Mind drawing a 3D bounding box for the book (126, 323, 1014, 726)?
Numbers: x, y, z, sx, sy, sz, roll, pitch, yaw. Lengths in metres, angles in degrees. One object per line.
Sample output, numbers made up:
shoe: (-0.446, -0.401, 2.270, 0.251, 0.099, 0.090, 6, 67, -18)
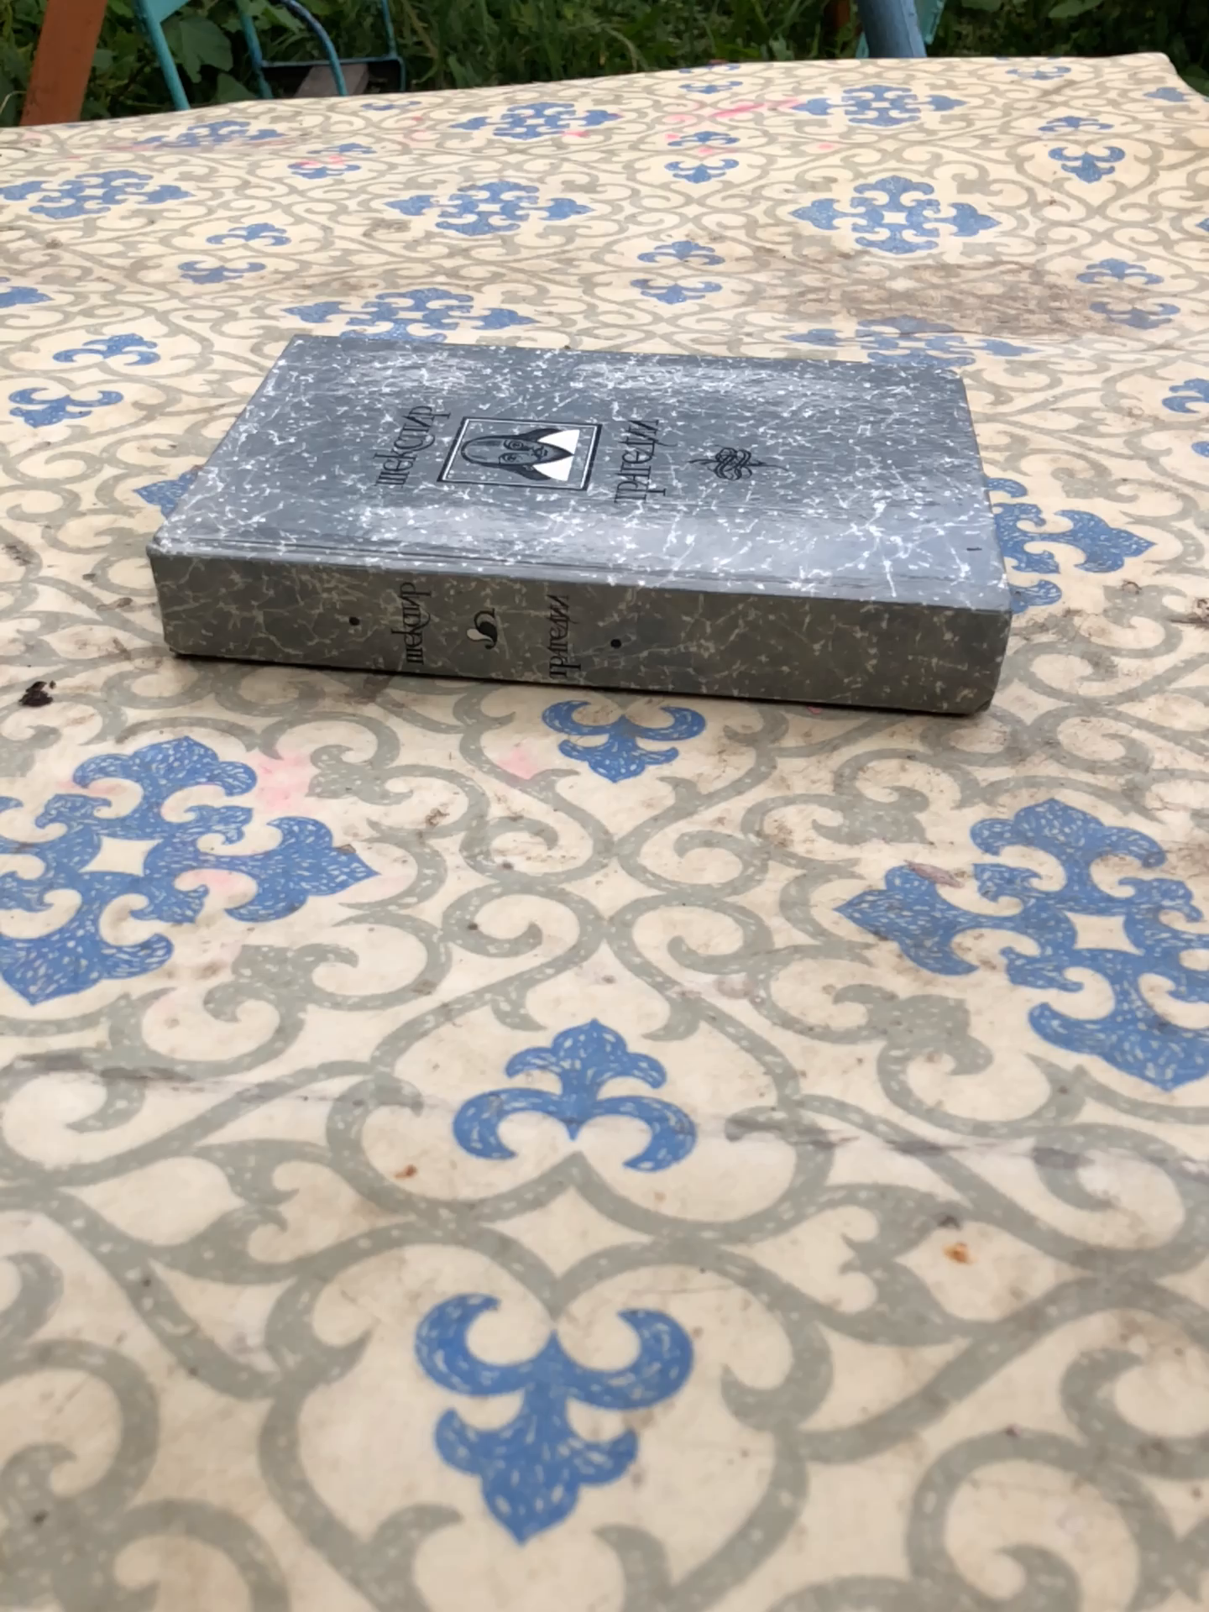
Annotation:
book: (-0.004, -0.085, 0.371, 0.207, 0.033, 0.135, 5, 41, 3)
